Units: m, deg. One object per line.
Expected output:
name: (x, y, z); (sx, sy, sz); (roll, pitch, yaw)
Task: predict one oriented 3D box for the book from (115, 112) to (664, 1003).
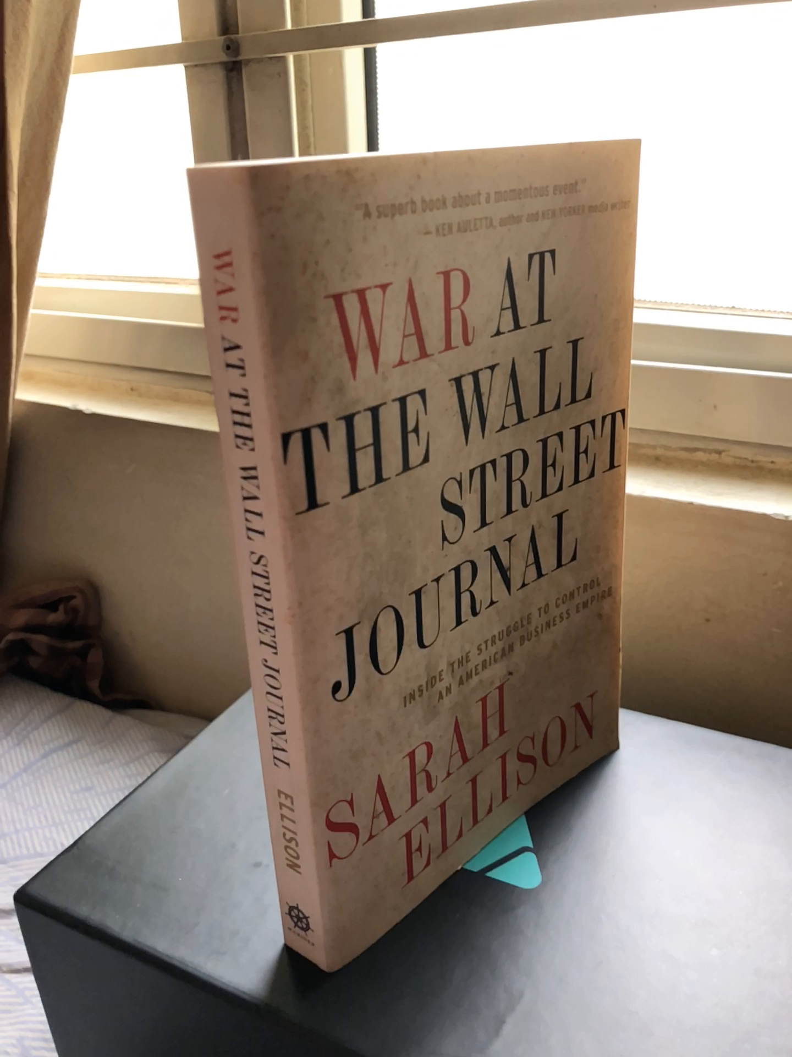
book: (0.014, -0.001, 0.241); (0.030, 0.199, 0.150); (18, 29, 41)
